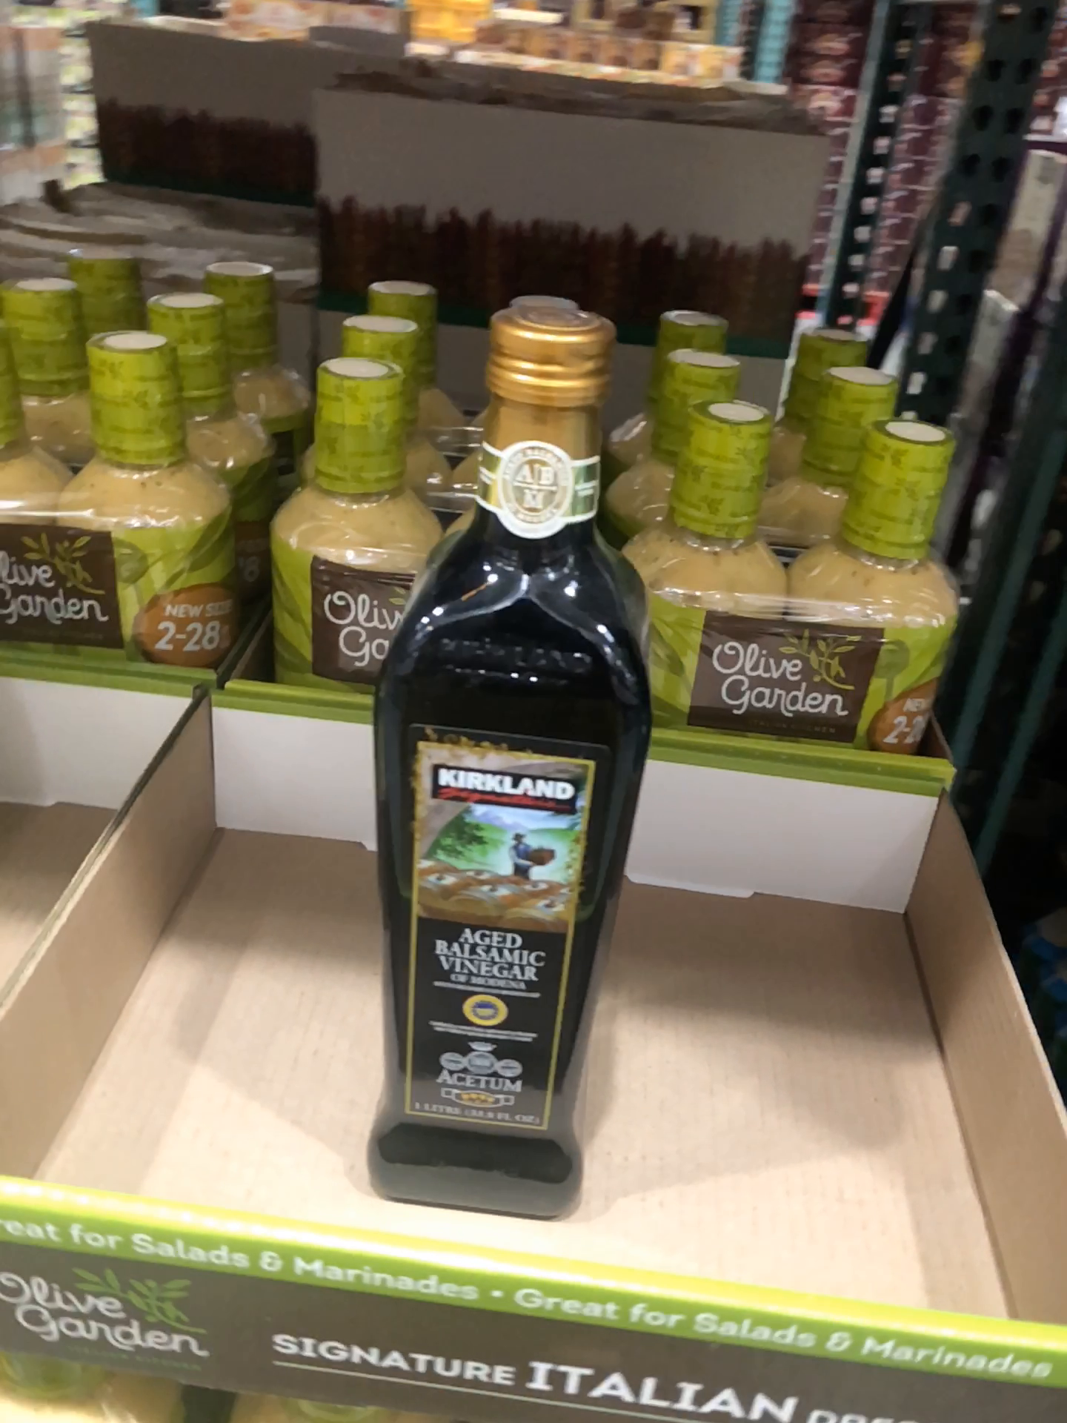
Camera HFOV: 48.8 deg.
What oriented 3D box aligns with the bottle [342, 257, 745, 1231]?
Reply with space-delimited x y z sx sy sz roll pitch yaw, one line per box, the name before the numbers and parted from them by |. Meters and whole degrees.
bottle | -0.007 0.026 0.381 0.090 0.305 0.090 4 31 -3
